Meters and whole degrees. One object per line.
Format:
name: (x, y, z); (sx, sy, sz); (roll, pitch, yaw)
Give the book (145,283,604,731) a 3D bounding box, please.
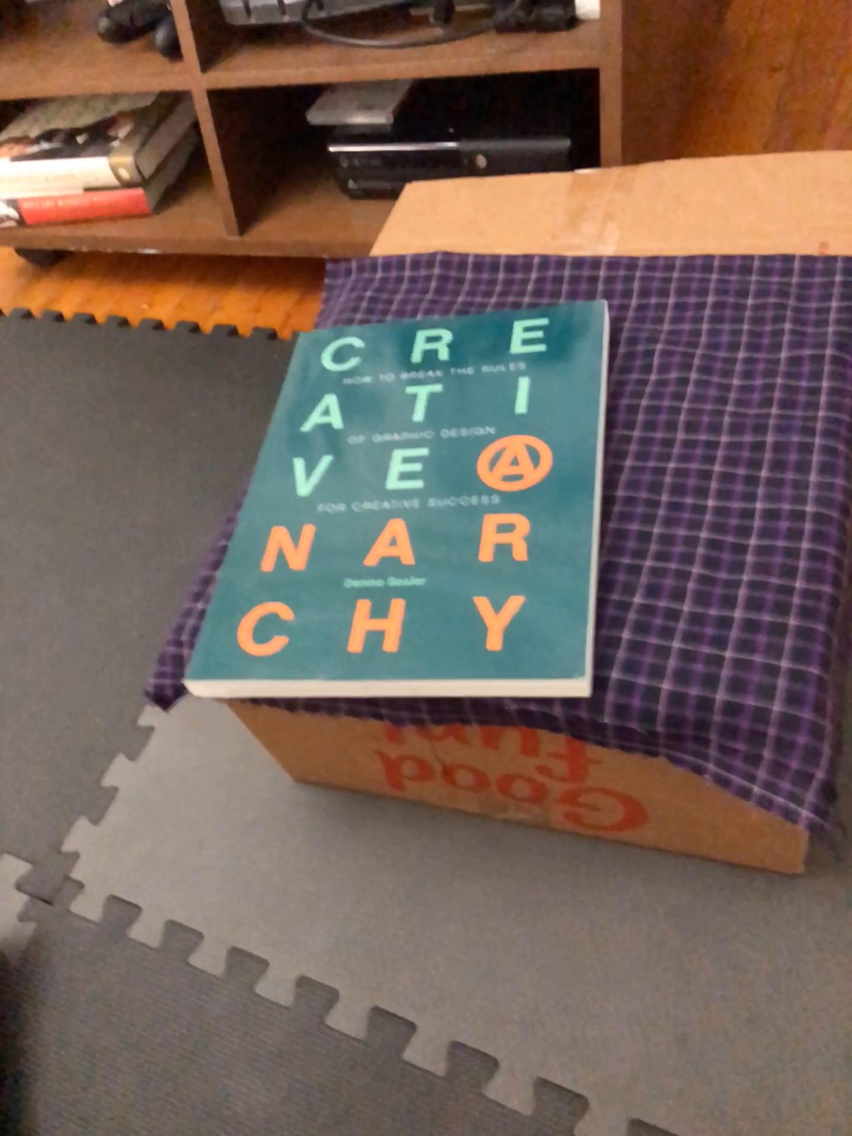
book: (-0.013, -0.048, 0.536); (0.220, 0.020, 0.301); (-2, 52, 16)
